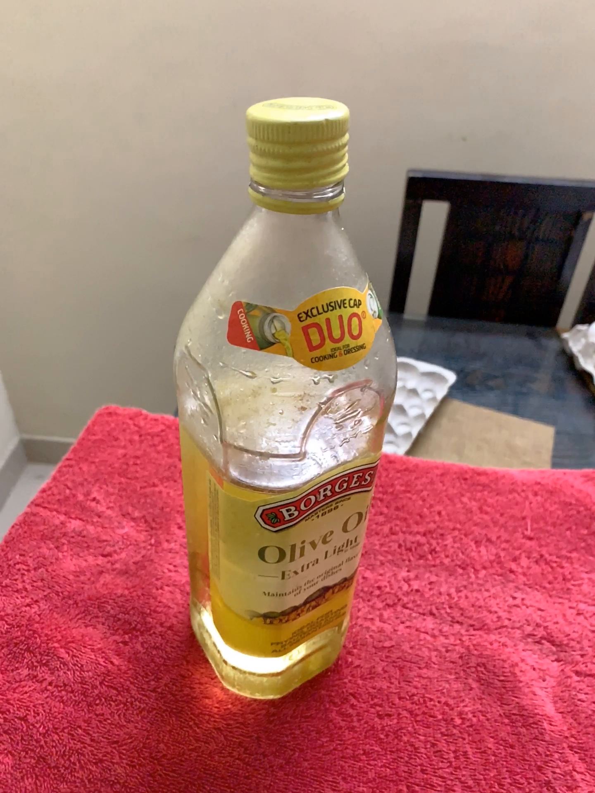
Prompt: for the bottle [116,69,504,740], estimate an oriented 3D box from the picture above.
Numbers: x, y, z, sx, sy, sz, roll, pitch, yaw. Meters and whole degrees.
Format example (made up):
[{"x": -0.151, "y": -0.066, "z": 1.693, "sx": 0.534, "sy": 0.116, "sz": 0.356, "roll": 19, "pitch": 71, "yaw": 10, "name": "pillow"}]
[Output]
[{"x": -0.004, "y": 0.026, "z": 0.251, "sx": 0.080, "sy": 0.268, "sz": 0.070, "roll": -20, "pitch": 44, "yaw": -26, "name": "bottle"}]
